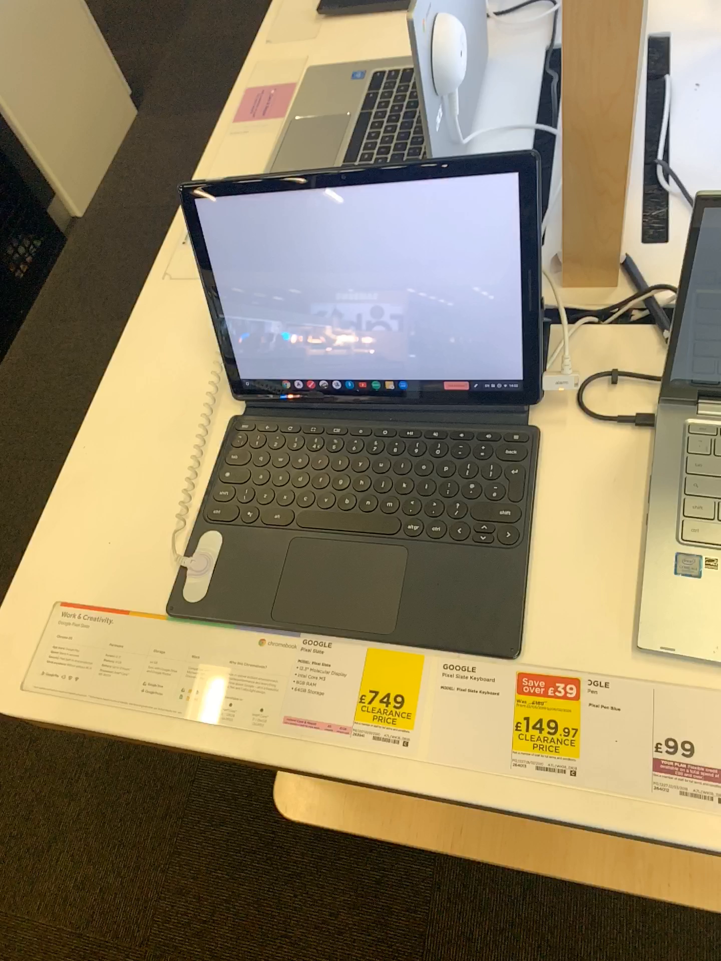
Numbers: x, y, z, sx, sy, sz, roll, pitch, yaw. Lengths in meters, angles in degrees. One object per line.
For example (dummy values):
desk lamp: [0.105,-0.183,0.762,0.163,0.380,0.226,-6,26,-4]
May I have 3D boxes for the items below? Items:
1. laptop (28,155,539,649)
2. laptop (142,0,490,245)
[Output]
laptop: [-0.022,-0.059,0.567,0.285,0.188,0.294,3,61,17]
laptop: [-0.015,-0.449,0.764,0.233,0.222,0.320,4,62,17]
